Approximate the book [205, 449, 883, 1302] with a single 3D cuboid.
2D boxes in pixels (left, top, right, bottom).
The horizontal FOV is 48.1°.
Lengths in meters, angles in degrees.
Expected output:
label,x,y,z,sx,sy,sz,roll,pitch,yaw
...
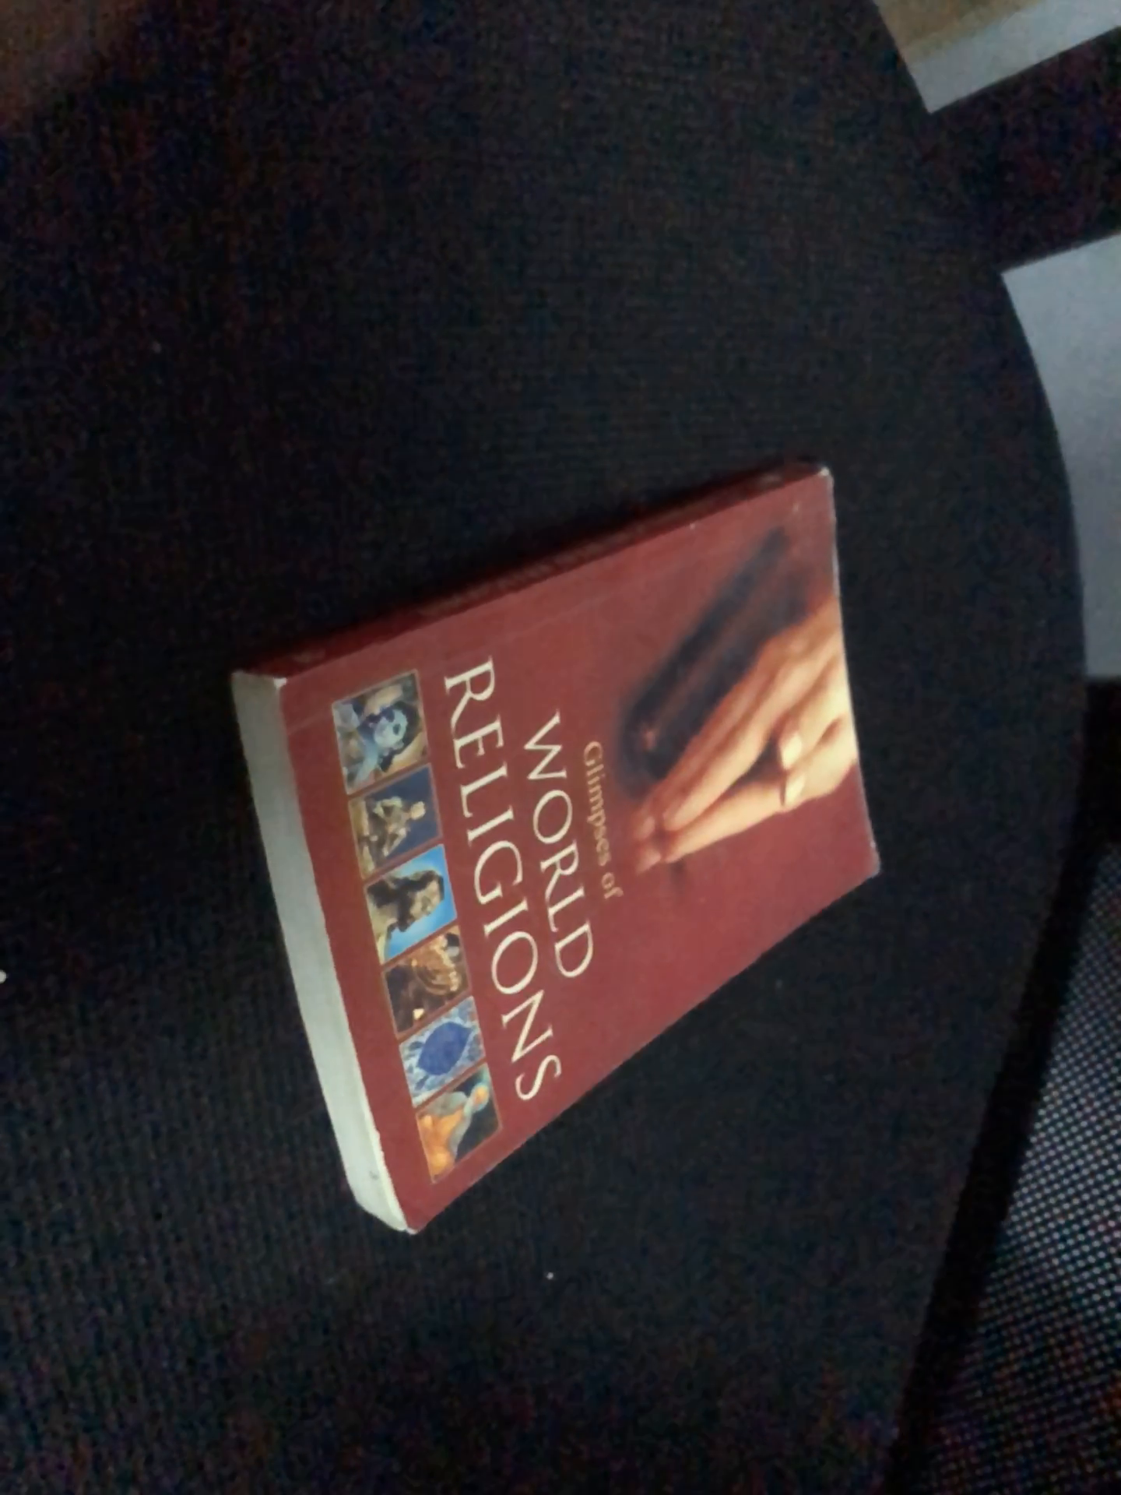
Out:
label,x,y,z,sx,sy,sz,roll,pitch,yaw
book,0.019,0.016,0.313,0.201,0.020,0.140,-28,119,-41
